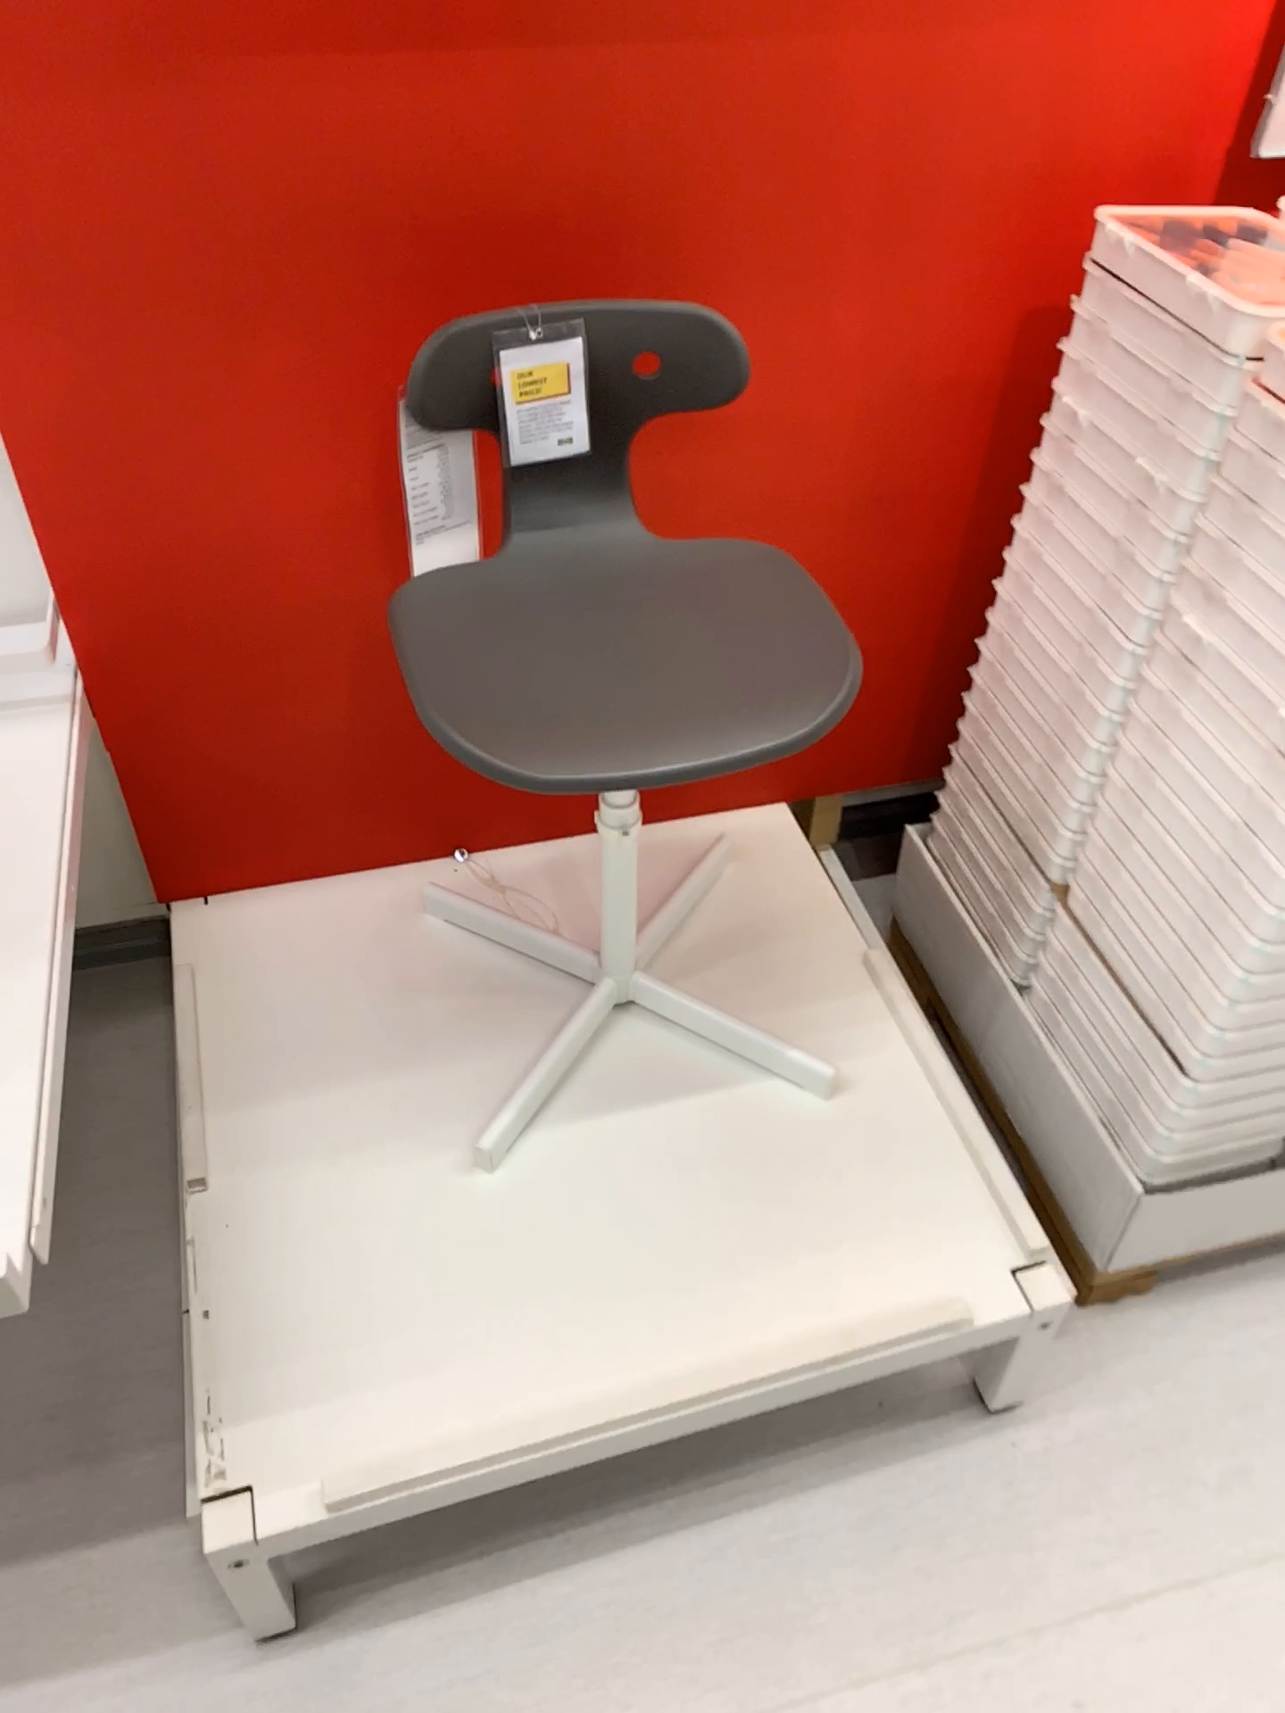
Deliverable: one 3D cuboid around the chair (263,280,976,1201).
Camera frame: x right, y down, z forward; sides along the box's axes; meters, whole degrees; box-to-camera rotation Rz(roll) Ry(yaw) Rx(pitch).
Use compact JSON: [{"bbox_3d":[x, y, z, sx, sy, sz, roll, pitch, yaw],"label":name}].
[{"bbox_3d":[-0.055,-0.102,1.258,0.460,0.697,0.452,-10,44,-12],"label":"chair"}]
